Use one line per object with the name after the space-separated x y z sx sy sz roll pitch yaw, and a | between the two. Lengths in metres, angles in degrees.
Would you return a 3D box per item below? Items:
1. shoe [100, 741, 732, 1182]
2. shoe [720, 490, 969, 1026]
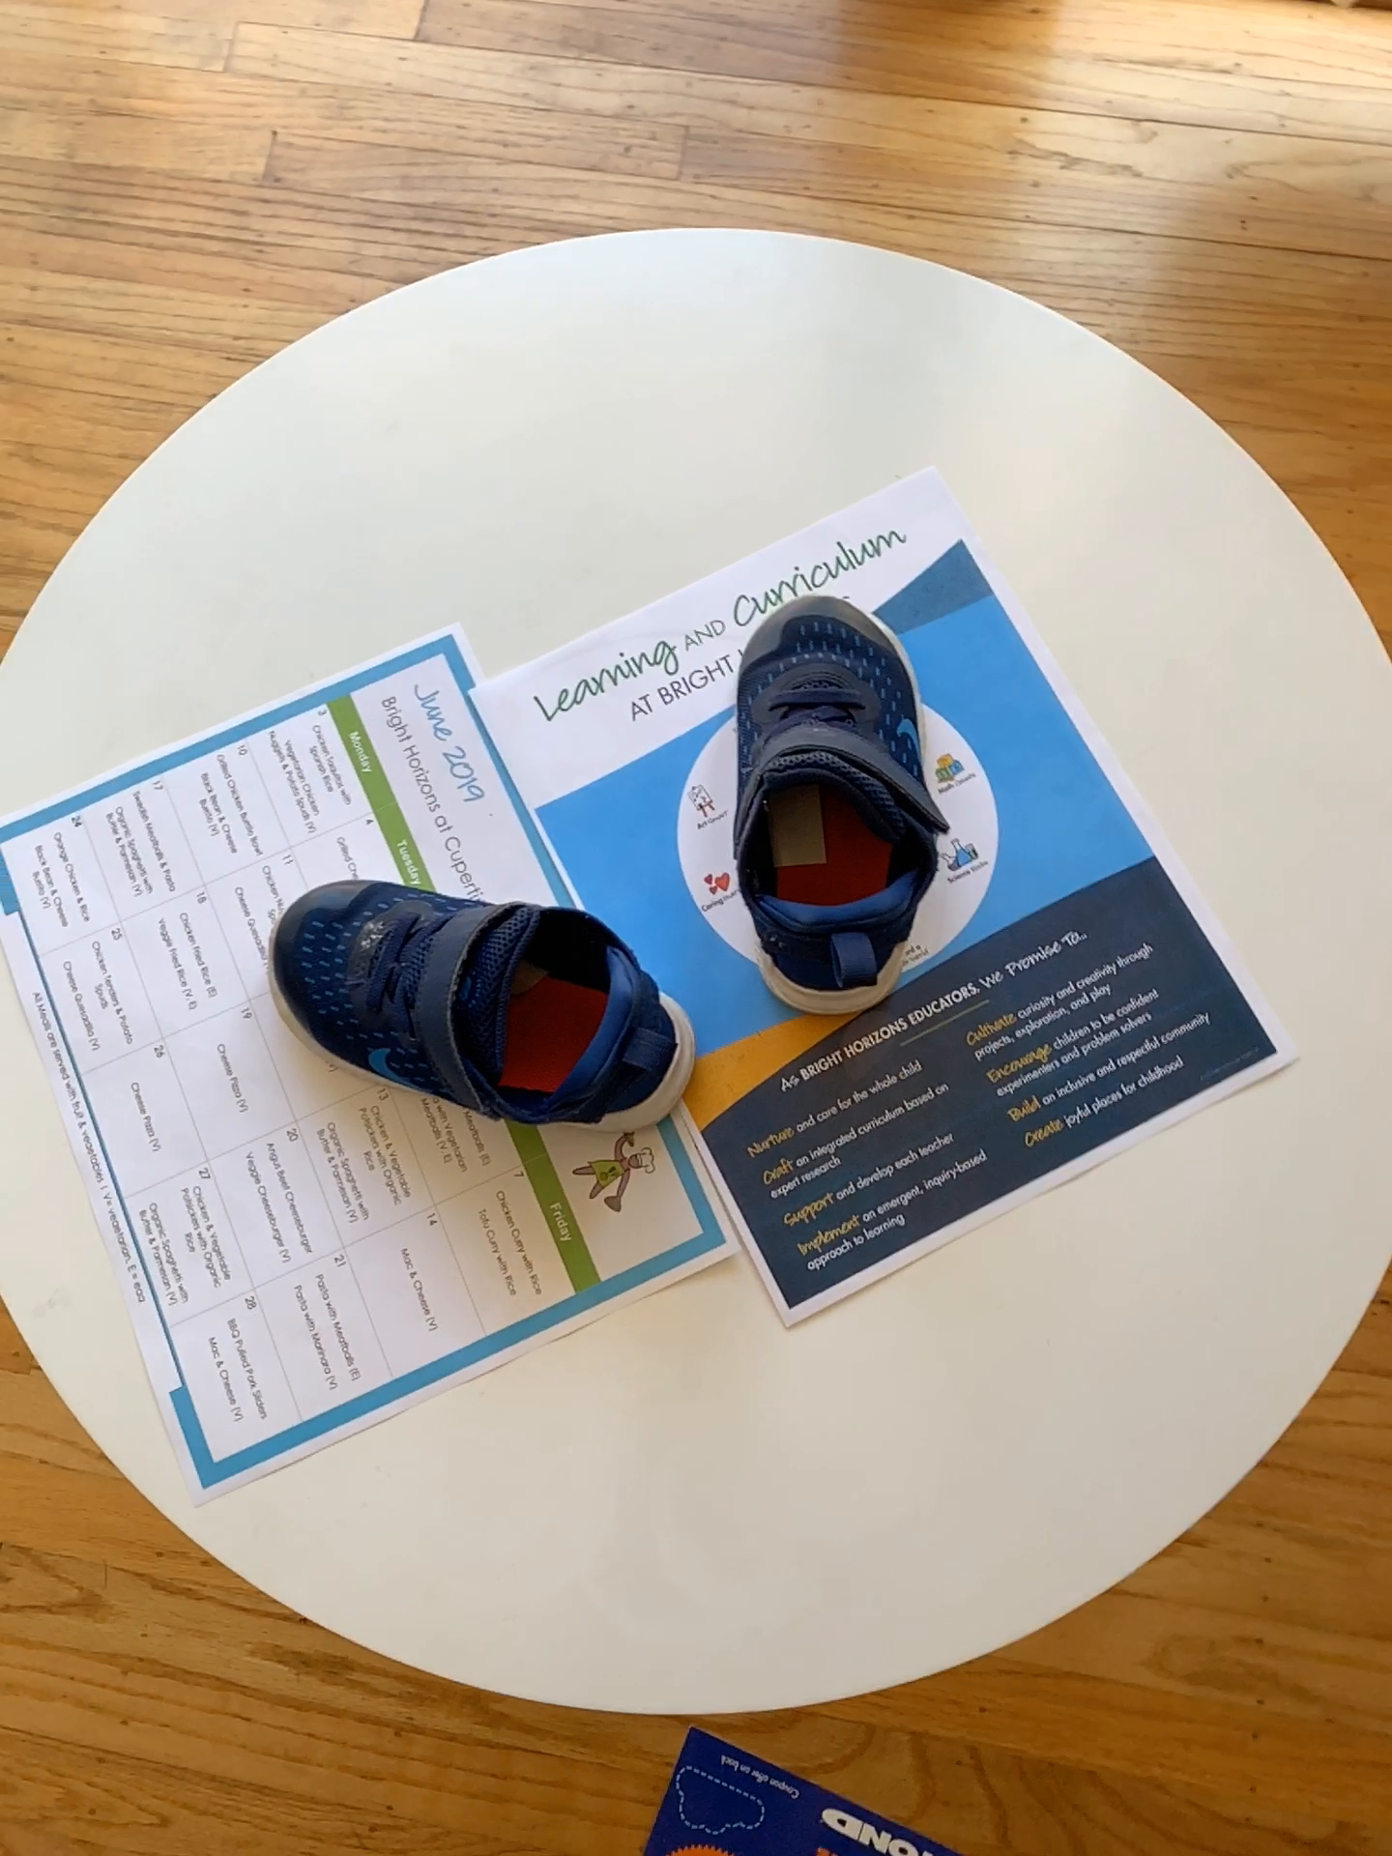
-0.082 0.017 0.476 0.170 0.110 0.080 17 77 7 | shoe
0.051 -0.057 0.532 0.080 0.110 0.170 0 76 3 | shoe
